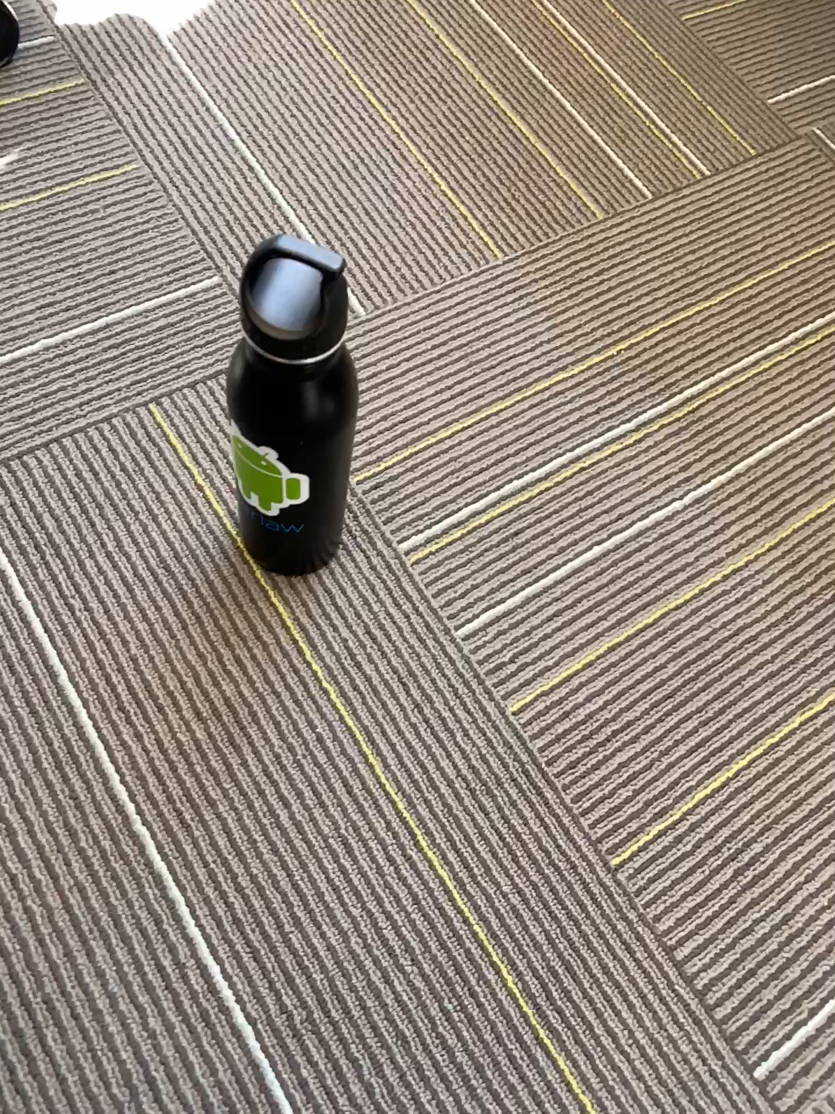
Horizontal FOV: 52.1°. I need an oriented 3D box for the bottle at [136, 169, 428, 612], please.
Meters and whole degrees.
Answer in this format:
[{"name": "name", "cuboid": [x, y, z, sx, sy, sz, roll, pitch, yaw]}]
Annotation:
[{"name": "bottle", "cuboid": [-0.072, -0.068, 0.464, 0.090, 0.240, 0.080, 35, 65, 8]}]
